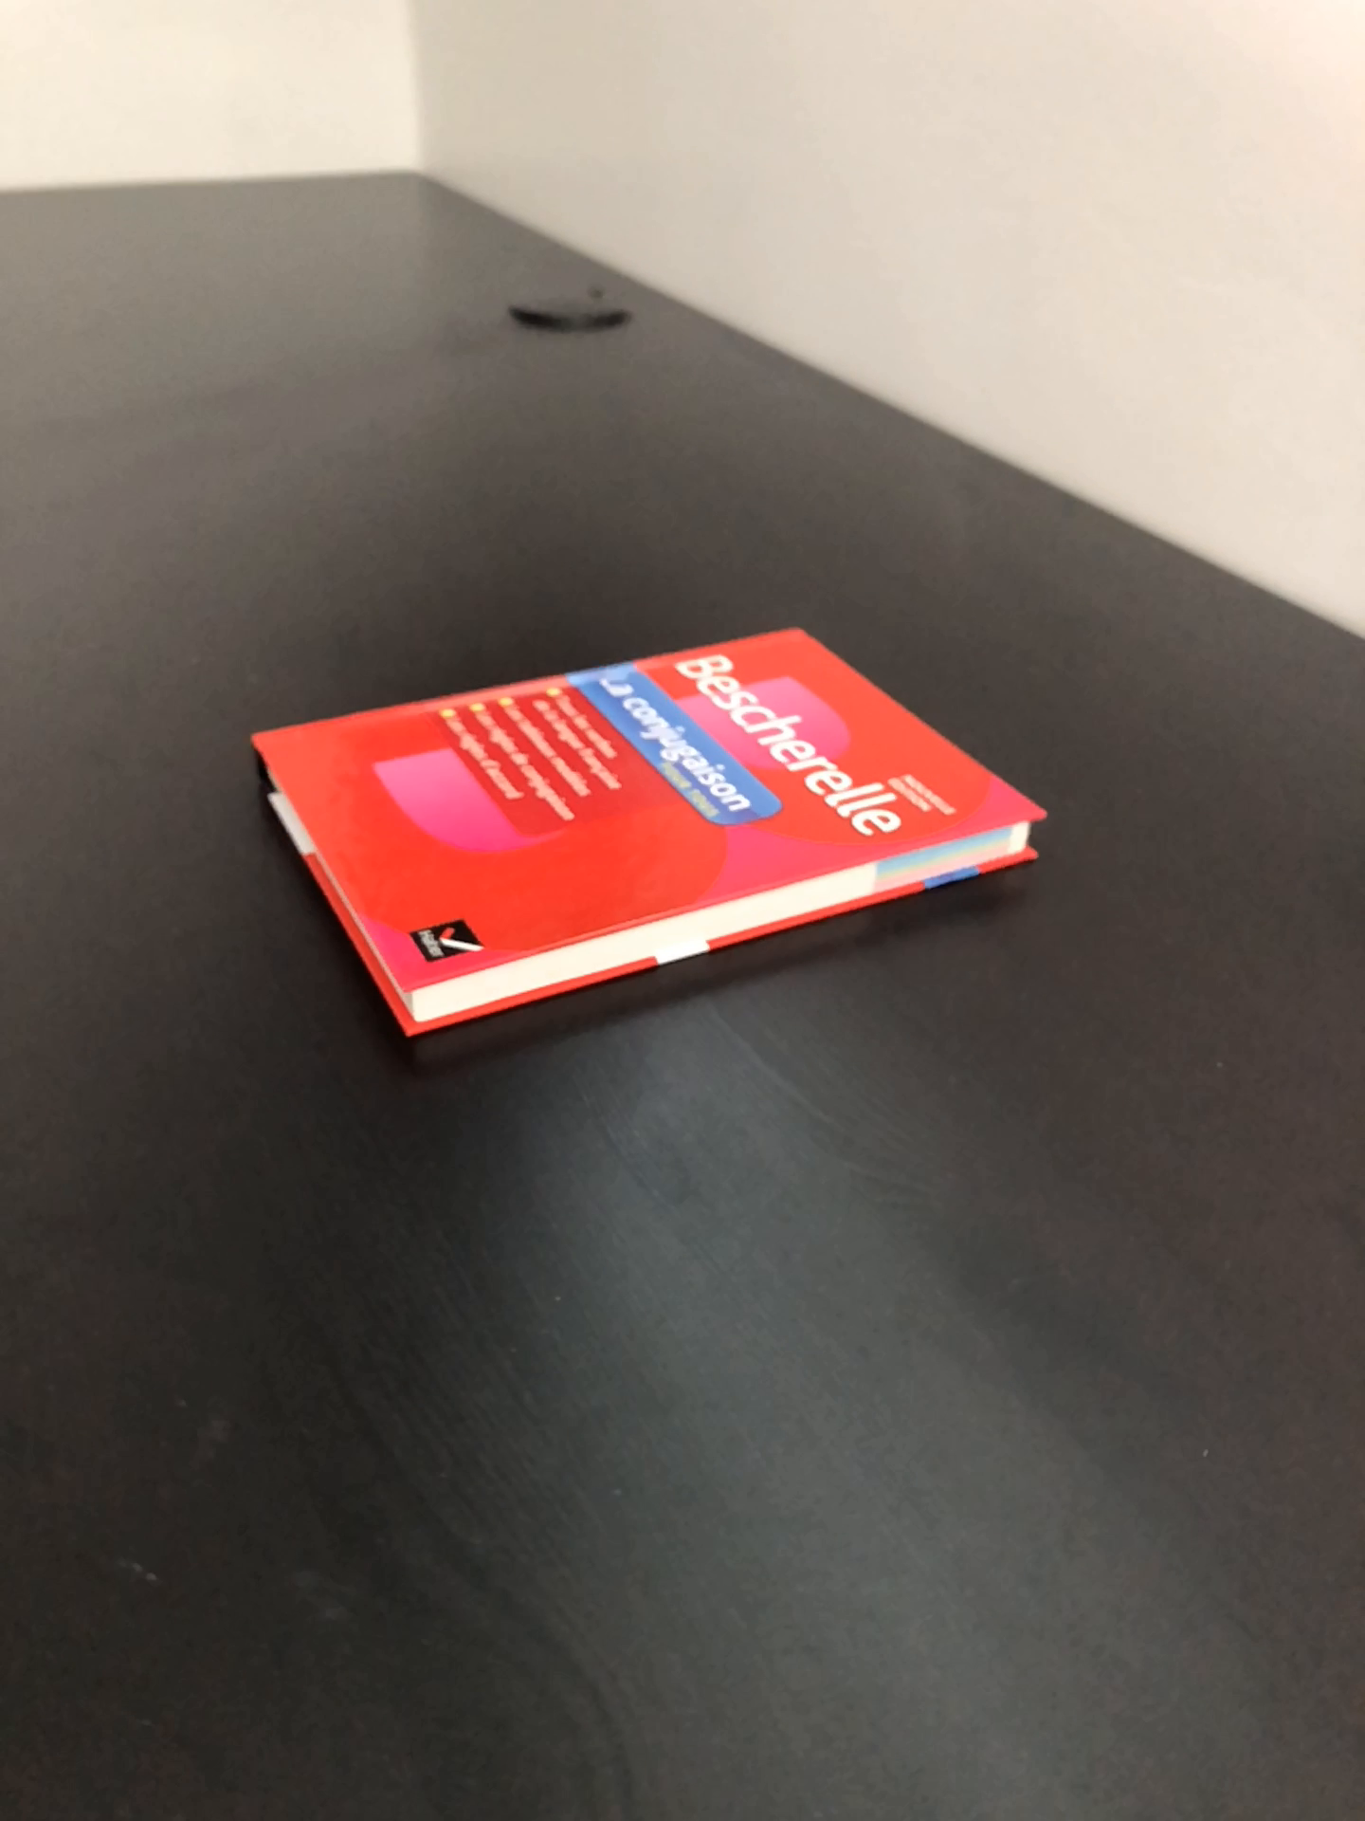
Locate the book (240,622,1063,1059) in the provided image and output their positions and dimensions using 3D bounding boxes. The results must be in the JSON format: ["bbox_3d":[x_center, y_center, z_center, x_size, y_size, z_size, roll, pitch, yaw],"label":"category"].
[{"bbox_3d":[-0.014,-0.034,0.462,0.204,0.020,0.150,-15,38,-23],"label":"book"}]
